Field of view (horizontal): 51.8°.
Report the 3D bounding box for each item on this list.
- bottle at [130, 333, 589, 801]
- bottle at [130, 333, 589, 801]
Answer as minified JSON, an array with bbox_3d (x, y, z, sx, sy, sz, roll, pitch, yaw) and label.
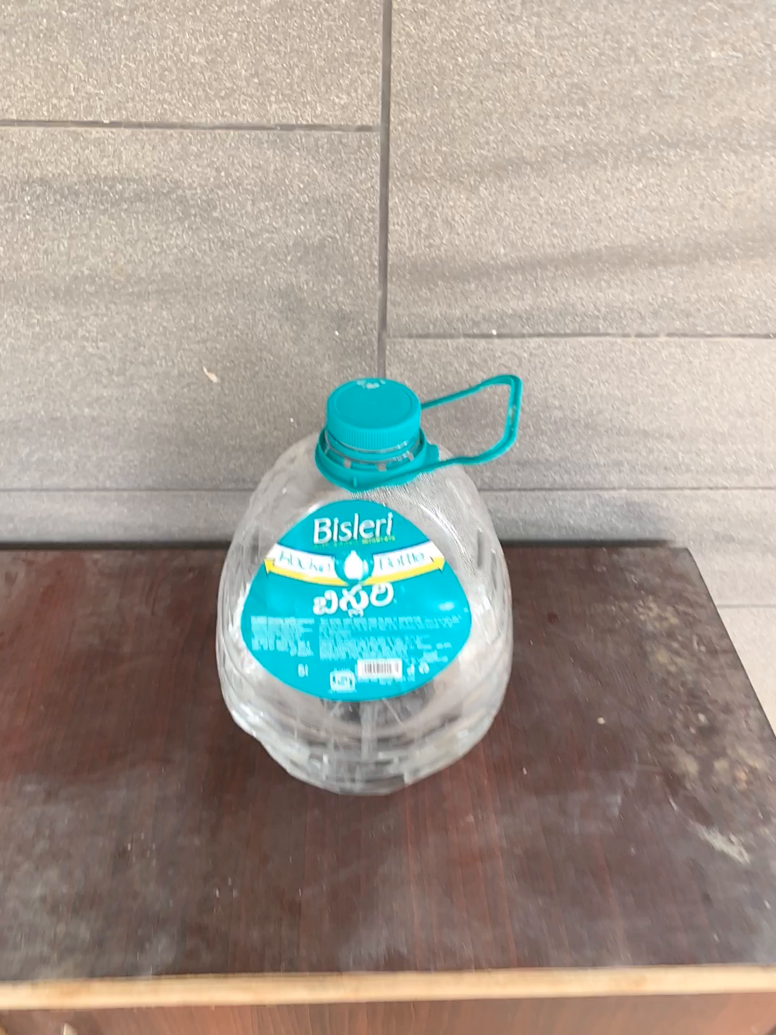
[{"bbox_3d":[-0.015,0.030,0.488,0.200,0.219,0.181,0,39,-1],"label":"bottle"},{"bbox_3d":[-0.015,0.030,0.488,0.200,0.219,0.181,0,39,-1],"label":"bottle"}]
